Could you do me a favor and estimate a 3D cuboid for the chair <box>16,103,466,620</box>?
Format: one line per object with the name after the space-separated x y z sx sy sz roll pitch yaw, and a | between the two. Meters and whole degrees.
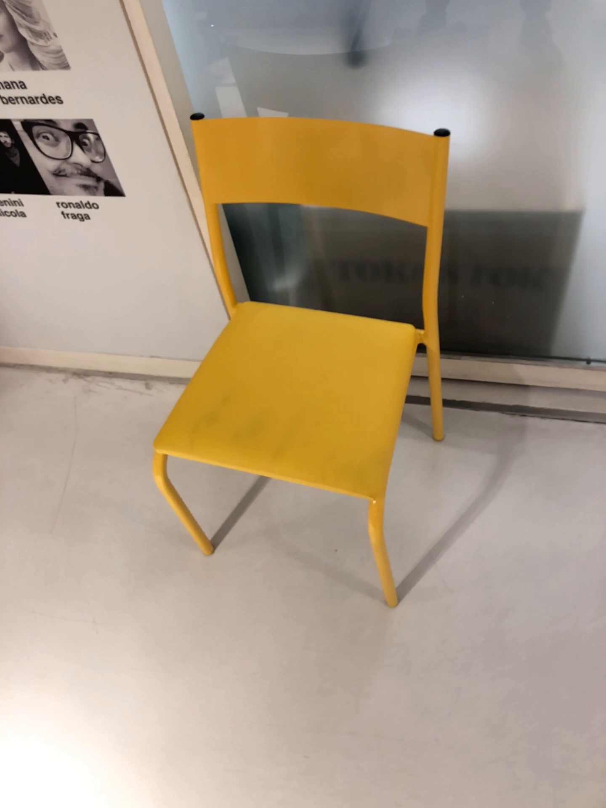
-0.009 -0.042 1.258 0.491 0.785 0.523 11 57 18 | chair
